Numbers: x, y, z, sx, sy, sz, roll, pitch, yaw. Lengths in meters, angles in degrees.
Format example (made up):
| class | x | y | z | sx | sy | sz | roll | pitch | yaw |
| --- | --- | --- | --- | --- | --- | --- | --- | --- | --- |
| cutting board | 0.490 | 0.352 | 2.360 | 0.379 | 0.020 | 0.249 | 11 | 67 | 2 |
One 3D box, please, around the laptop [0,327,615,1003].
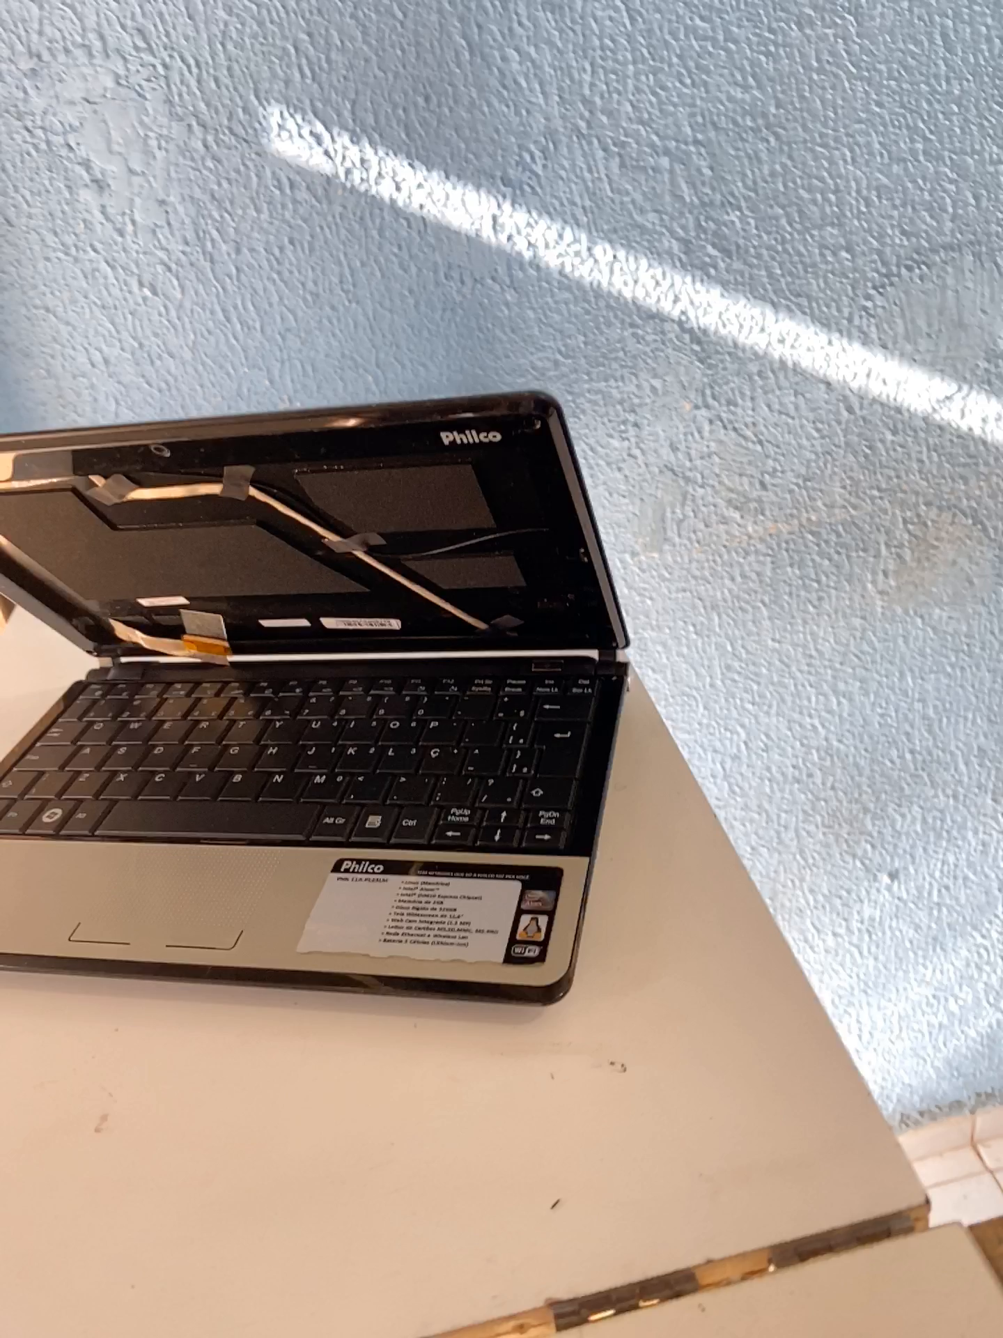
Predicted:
| class | x | y | z | sx | sy | sz | roll | pitch | yaw |
| --- | --- | --- | --- | --- | --- | --- | --- | --- | --- |
| laptop | -0.111 | -0.010 | 0.385 | 0.275 | 0.144 | 0.177 | -1 | 33 | 16 |
